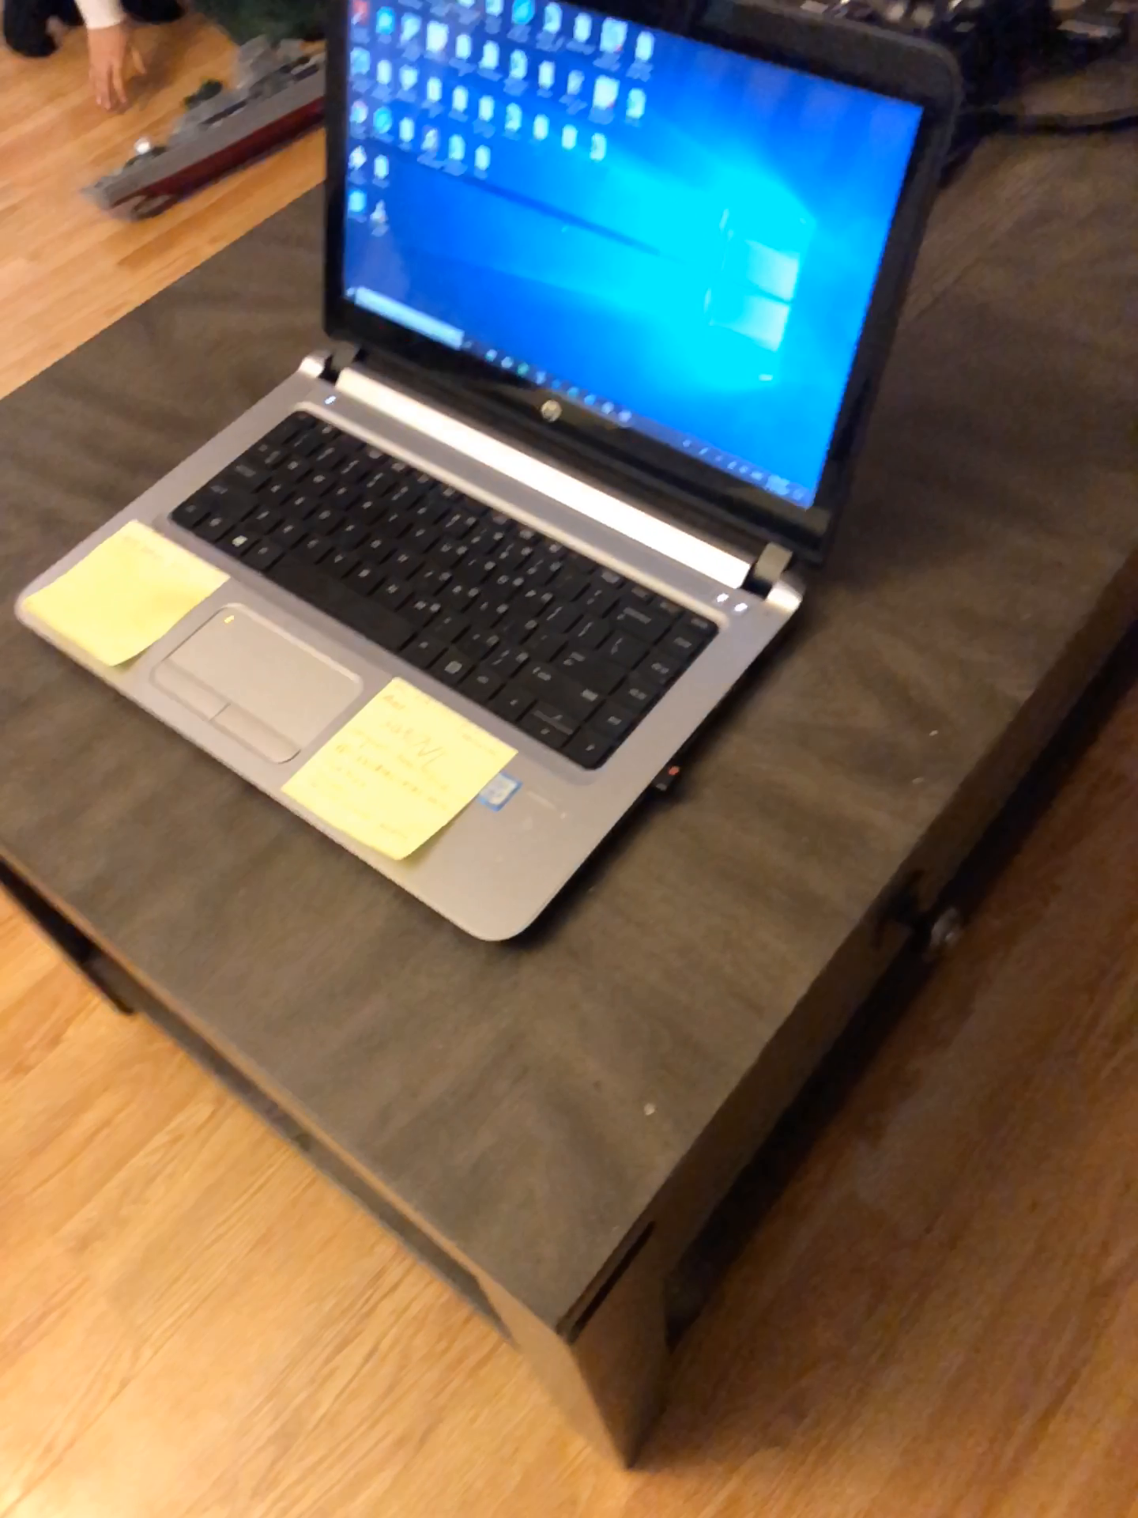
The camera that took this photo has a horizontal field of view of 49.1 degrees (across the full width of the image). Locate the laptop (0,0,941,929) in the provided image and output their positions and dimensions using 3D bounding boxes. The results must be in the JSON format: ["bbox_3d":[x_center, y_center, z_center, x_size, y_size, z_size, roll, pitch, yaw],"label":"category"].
[{"bbox_3d":[-0.072,-0.169,0.549,0.316,0.203,0.313,31,64,24],"label":"laptop"}]
